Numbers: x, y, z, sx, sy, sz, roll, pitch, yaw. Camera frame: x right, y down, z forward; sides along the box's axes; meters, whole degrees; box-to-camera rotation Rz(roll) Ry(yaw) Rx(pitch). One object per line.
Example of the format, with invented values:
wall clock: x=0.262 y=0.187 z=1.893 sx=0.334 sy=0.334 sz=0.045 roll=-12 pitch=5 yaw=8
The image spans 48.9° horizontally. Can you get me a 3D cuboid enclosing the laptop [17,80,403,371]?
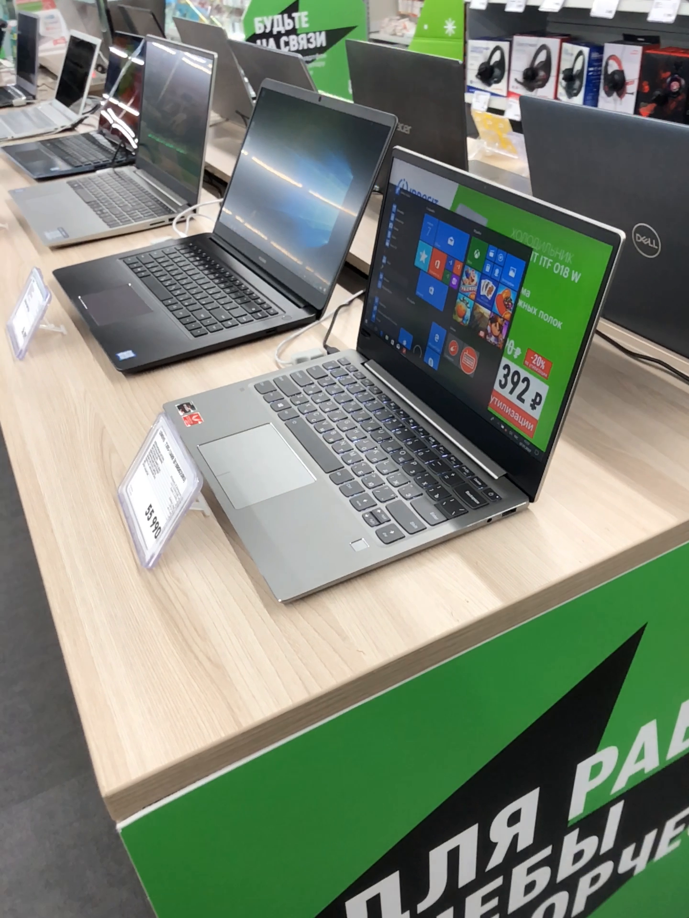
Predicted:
laptop: x=-0.168 y=-0.310 z=0.921 sx=0.340 sy=0.188 sz=0.345 roll=-21 pitch=38 yaw=-20

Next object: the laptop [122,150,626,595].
laptop: x=0.006 y=-0.097 z=0.602 sx=0.262 sy=0.187 sz=0.286 roll=-19 pitch=37 yaw=-18
